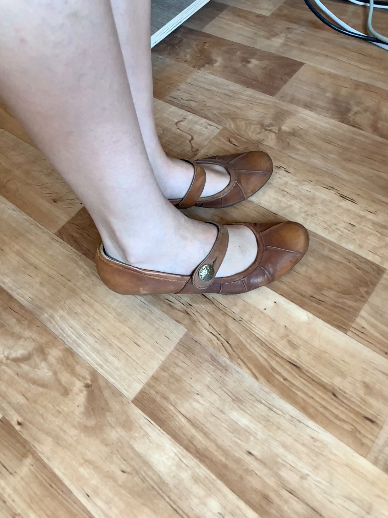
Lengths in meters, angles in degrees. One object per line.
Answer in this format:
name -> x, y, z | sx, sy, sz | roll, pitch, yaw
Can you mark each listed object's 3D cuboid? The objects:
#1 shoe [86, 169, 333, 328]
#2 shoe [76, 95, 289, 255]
shoe -> 0.015, -0.010, 0.462 | 0.250, 0.090, 0.090 | -15, 58, -1
shoe -> -0.011, -0.111, 0.528 | 0.250, 0.090, 0.090 | -23, 58, -6
